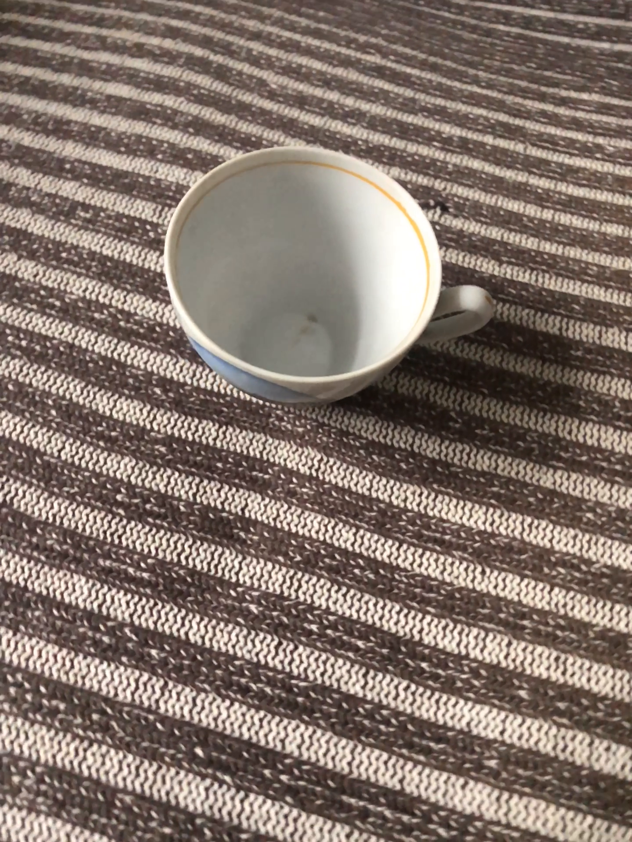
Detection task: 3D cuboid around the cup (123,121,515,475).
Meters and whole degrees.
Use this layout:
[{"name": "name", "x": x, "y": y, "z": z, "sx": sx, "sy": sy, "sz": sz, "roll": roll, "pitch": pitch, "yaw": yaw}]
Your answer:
[{"name": "cup", "x": 0.002, "y": -0.029, "z": 0.179, "sx": 0.079, "sy": 0.042, "sz": 0.061, "roll": 11, "pitch": 69, "yaw": -2}]
